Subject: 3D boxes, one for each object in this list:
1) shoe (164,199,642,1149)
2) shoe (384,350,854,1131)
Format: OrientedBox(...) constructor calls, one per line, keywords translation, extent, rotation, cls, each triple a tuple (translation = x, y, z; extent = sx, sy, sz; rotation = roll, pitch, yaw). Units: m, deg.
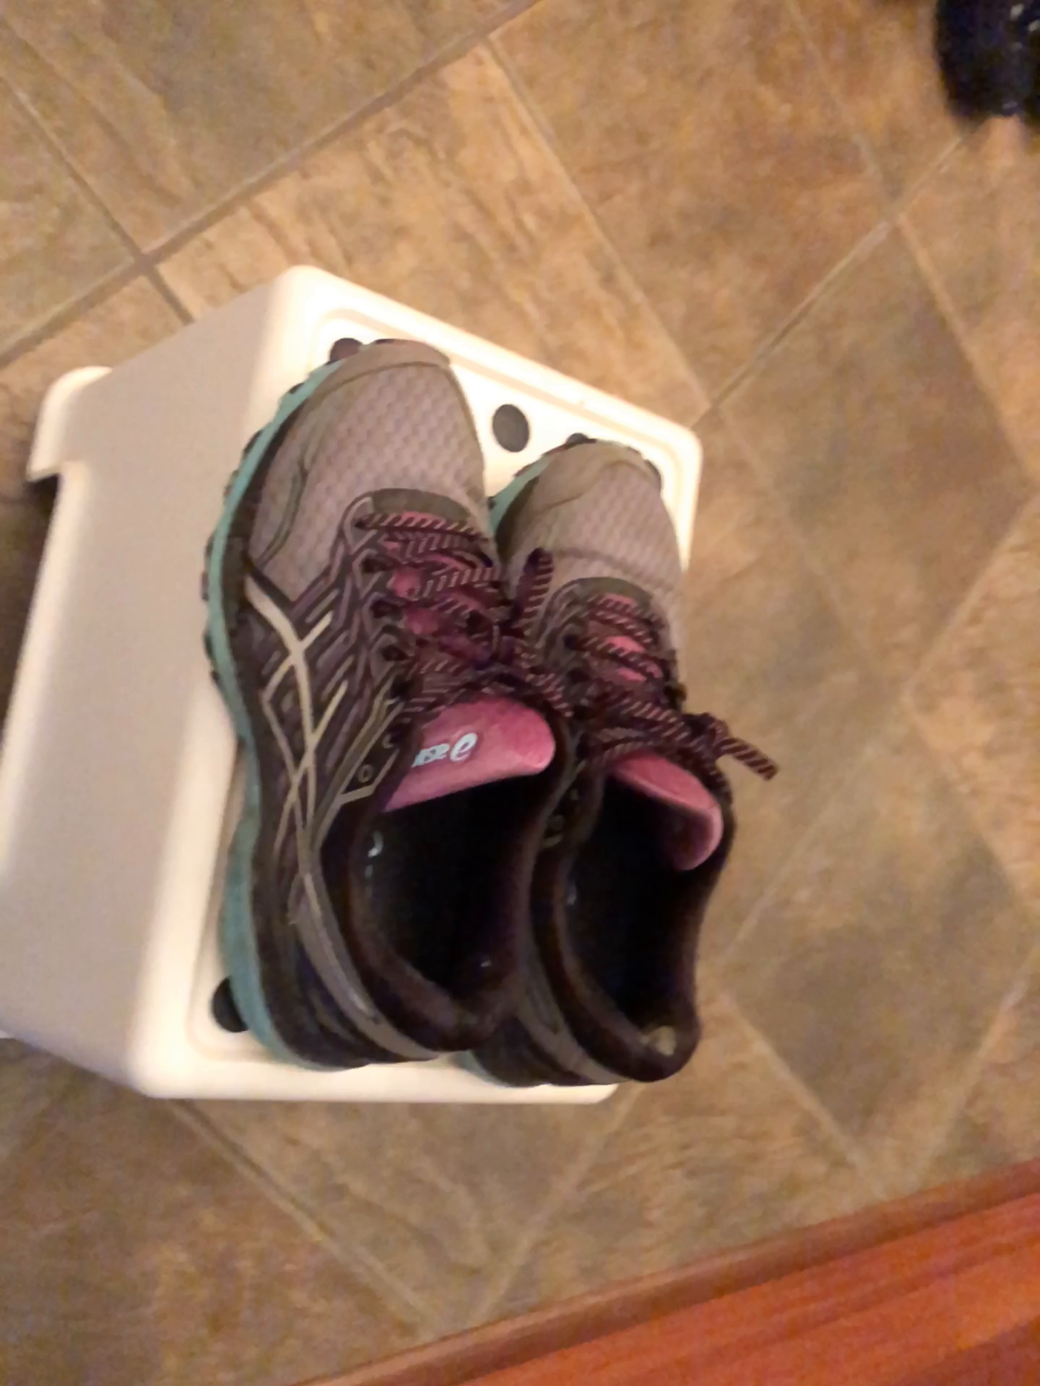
OrientedBox(translation=(-0.042, -0.003, 0.392), extent=(0.110, 0.120, 0.260), rotation=(5, 85, -33), cls="shoe")
OrientedBox(translation=(0.039, 0.022, 0.457), extent=(0.110, 0.120, 0.260), rotation=(11, 81, -32), cls="shoe")
